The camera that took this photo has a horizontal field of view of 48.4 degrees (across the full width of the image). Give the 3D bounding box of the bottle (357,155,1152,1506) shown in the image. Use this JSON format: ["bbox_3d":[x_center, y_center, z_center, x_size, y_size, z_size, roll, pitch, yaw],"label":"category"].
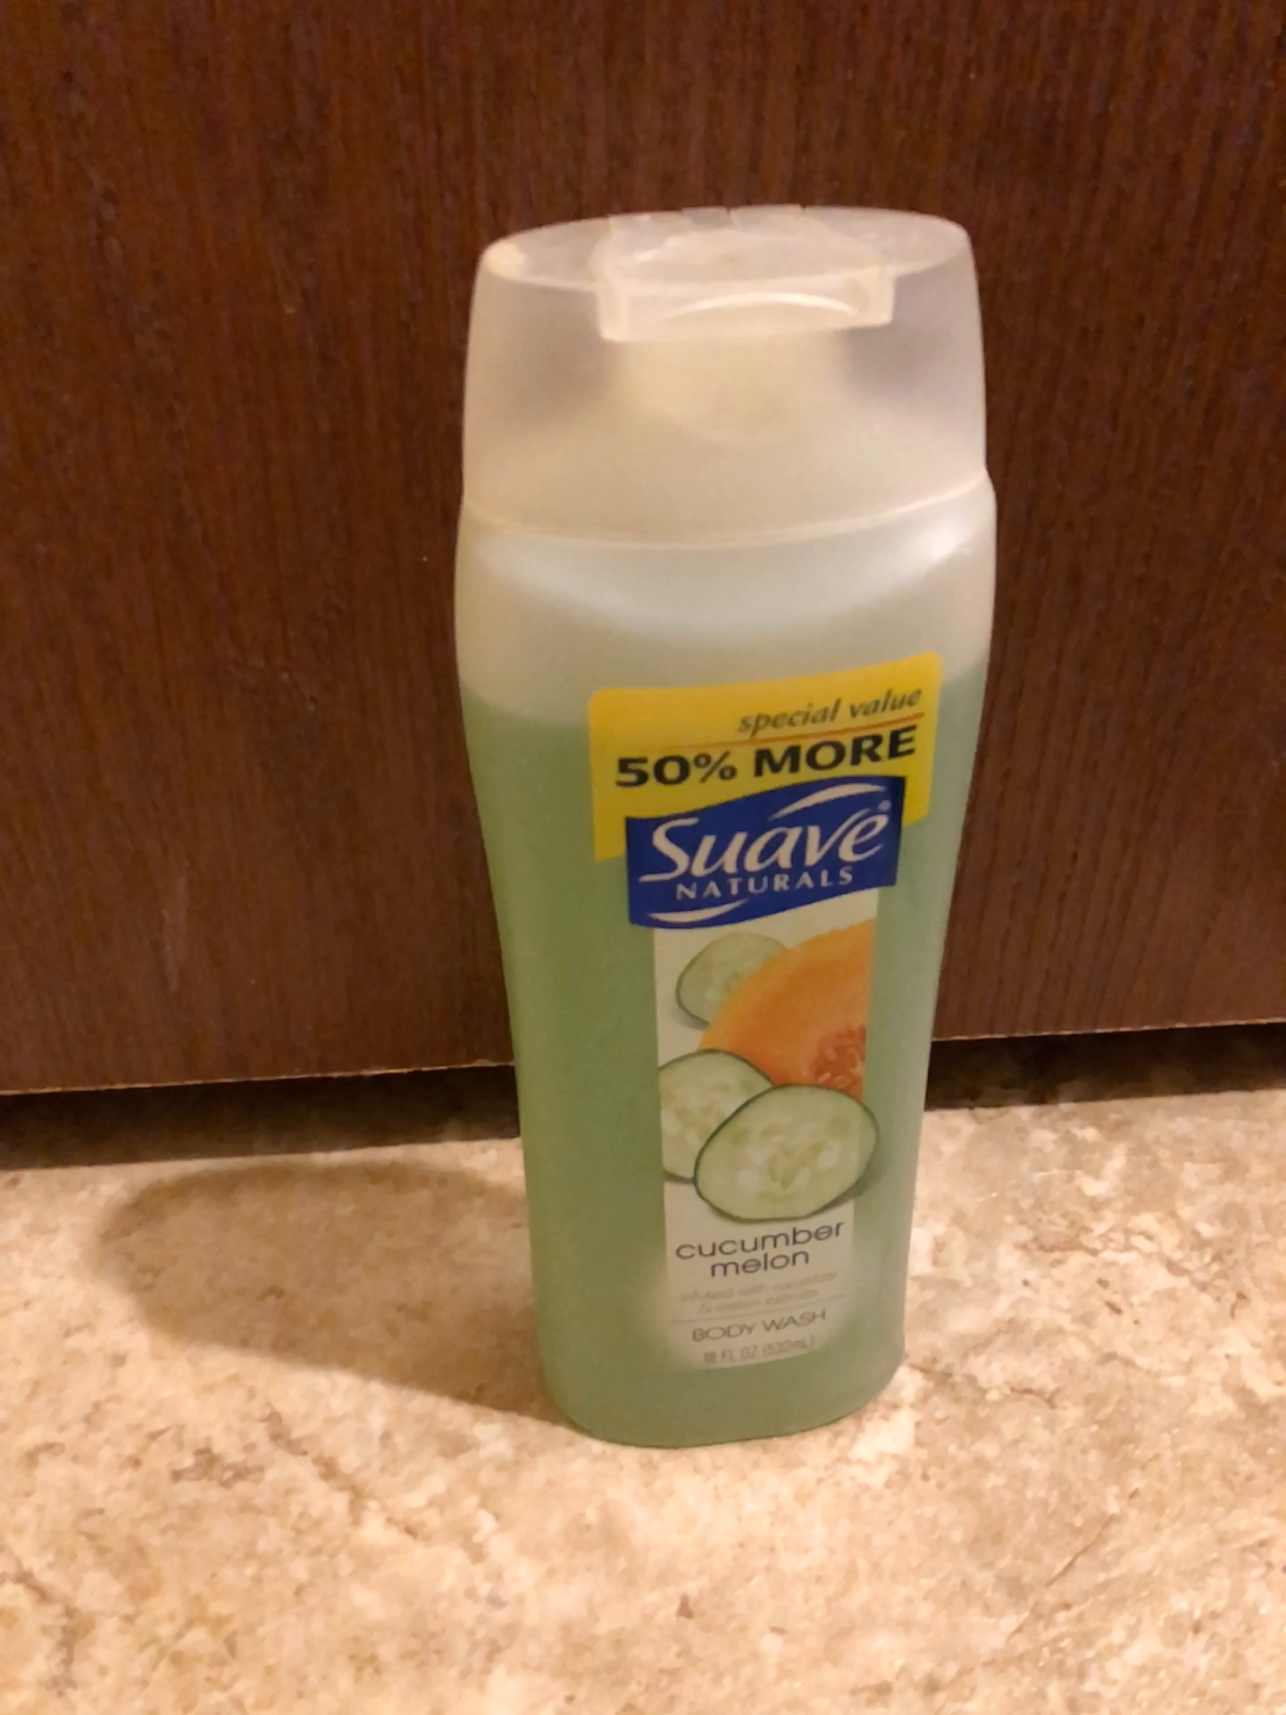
[{"bbox_3d":[0.013,0.017,0.249,0.090,0.239,0.050,-7,36,-6],"label":"bottle"}]
